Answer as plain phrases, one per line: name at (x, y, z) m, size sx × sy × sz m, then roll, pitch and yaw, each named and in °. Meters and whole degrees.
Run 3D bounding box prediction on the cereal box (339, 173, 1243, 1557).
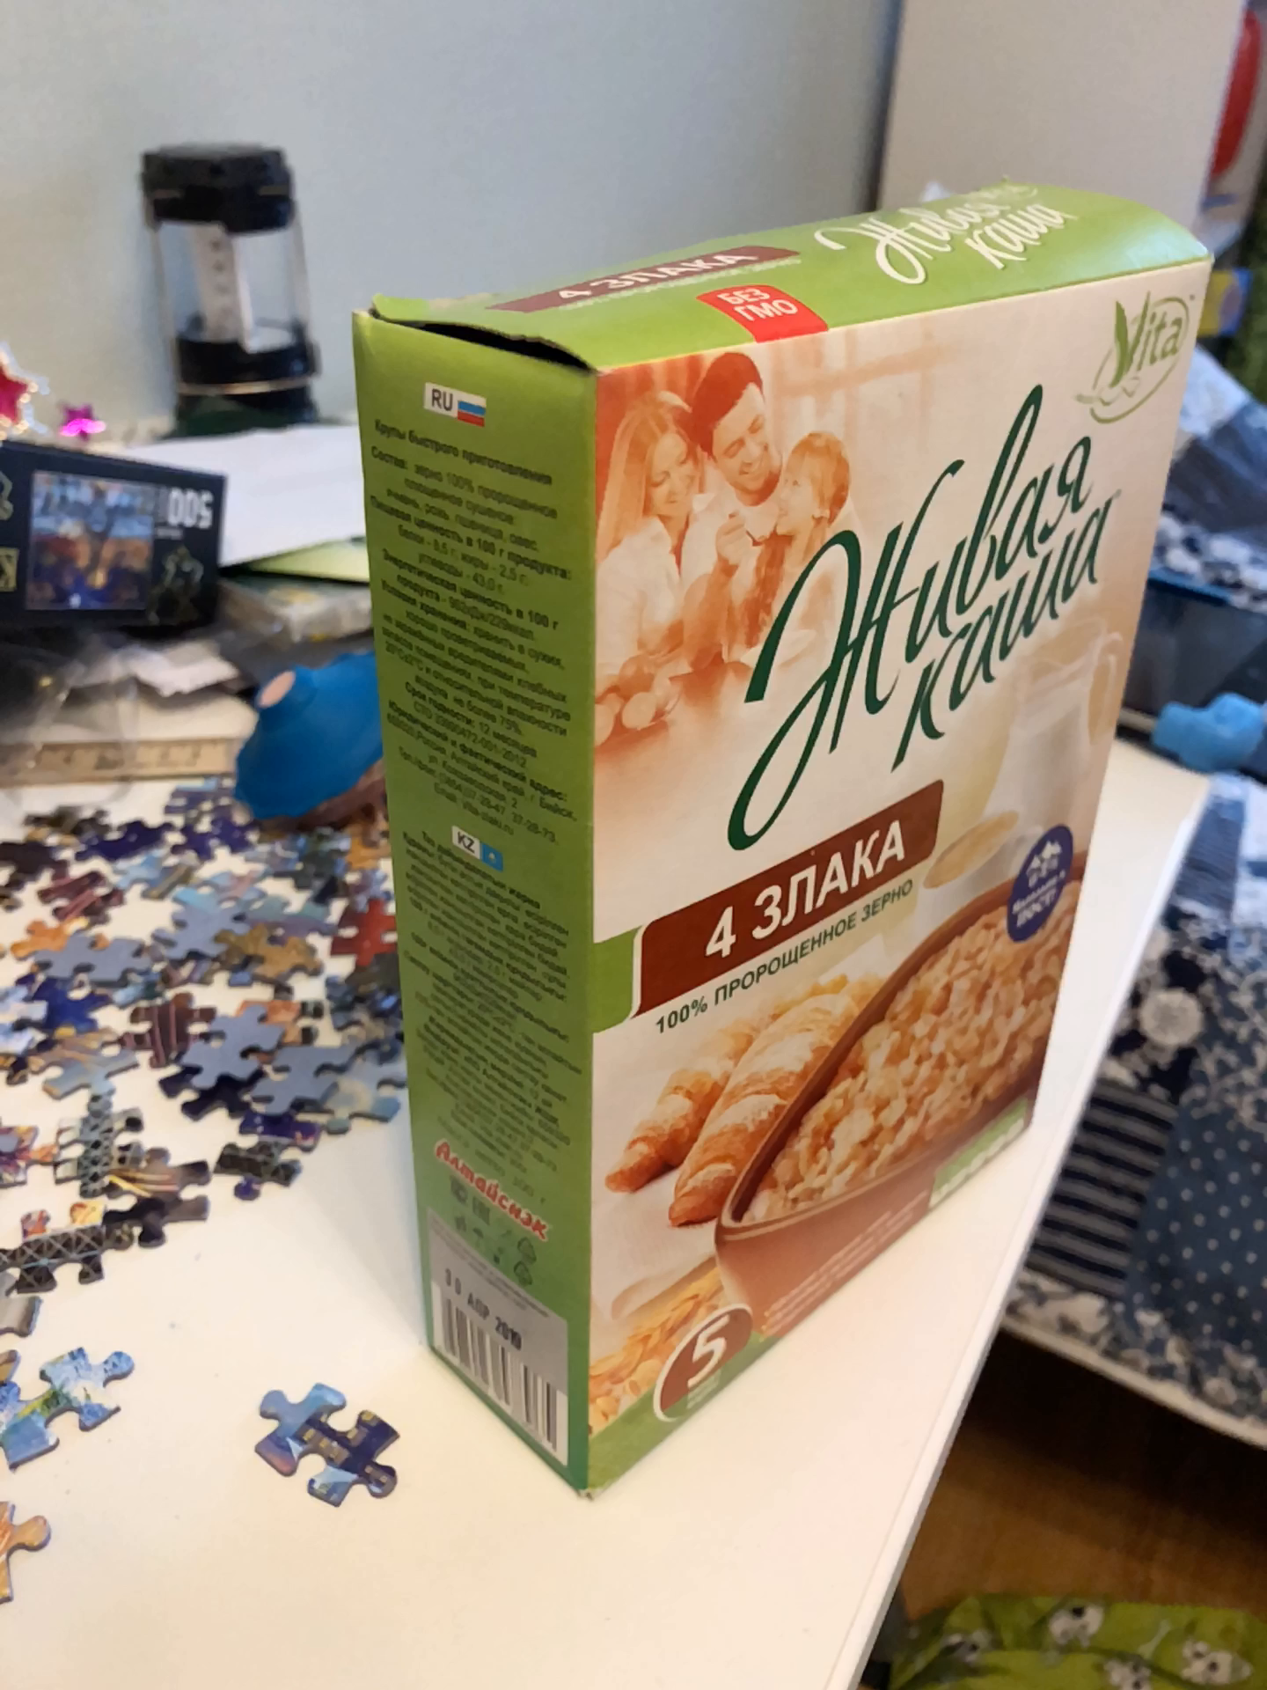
cereal box at (0.029, 0.000, 0.253) m, size 0.141 × 0.209 × 0.050 m, roll -25°, pitch 39°, yaw -38°
